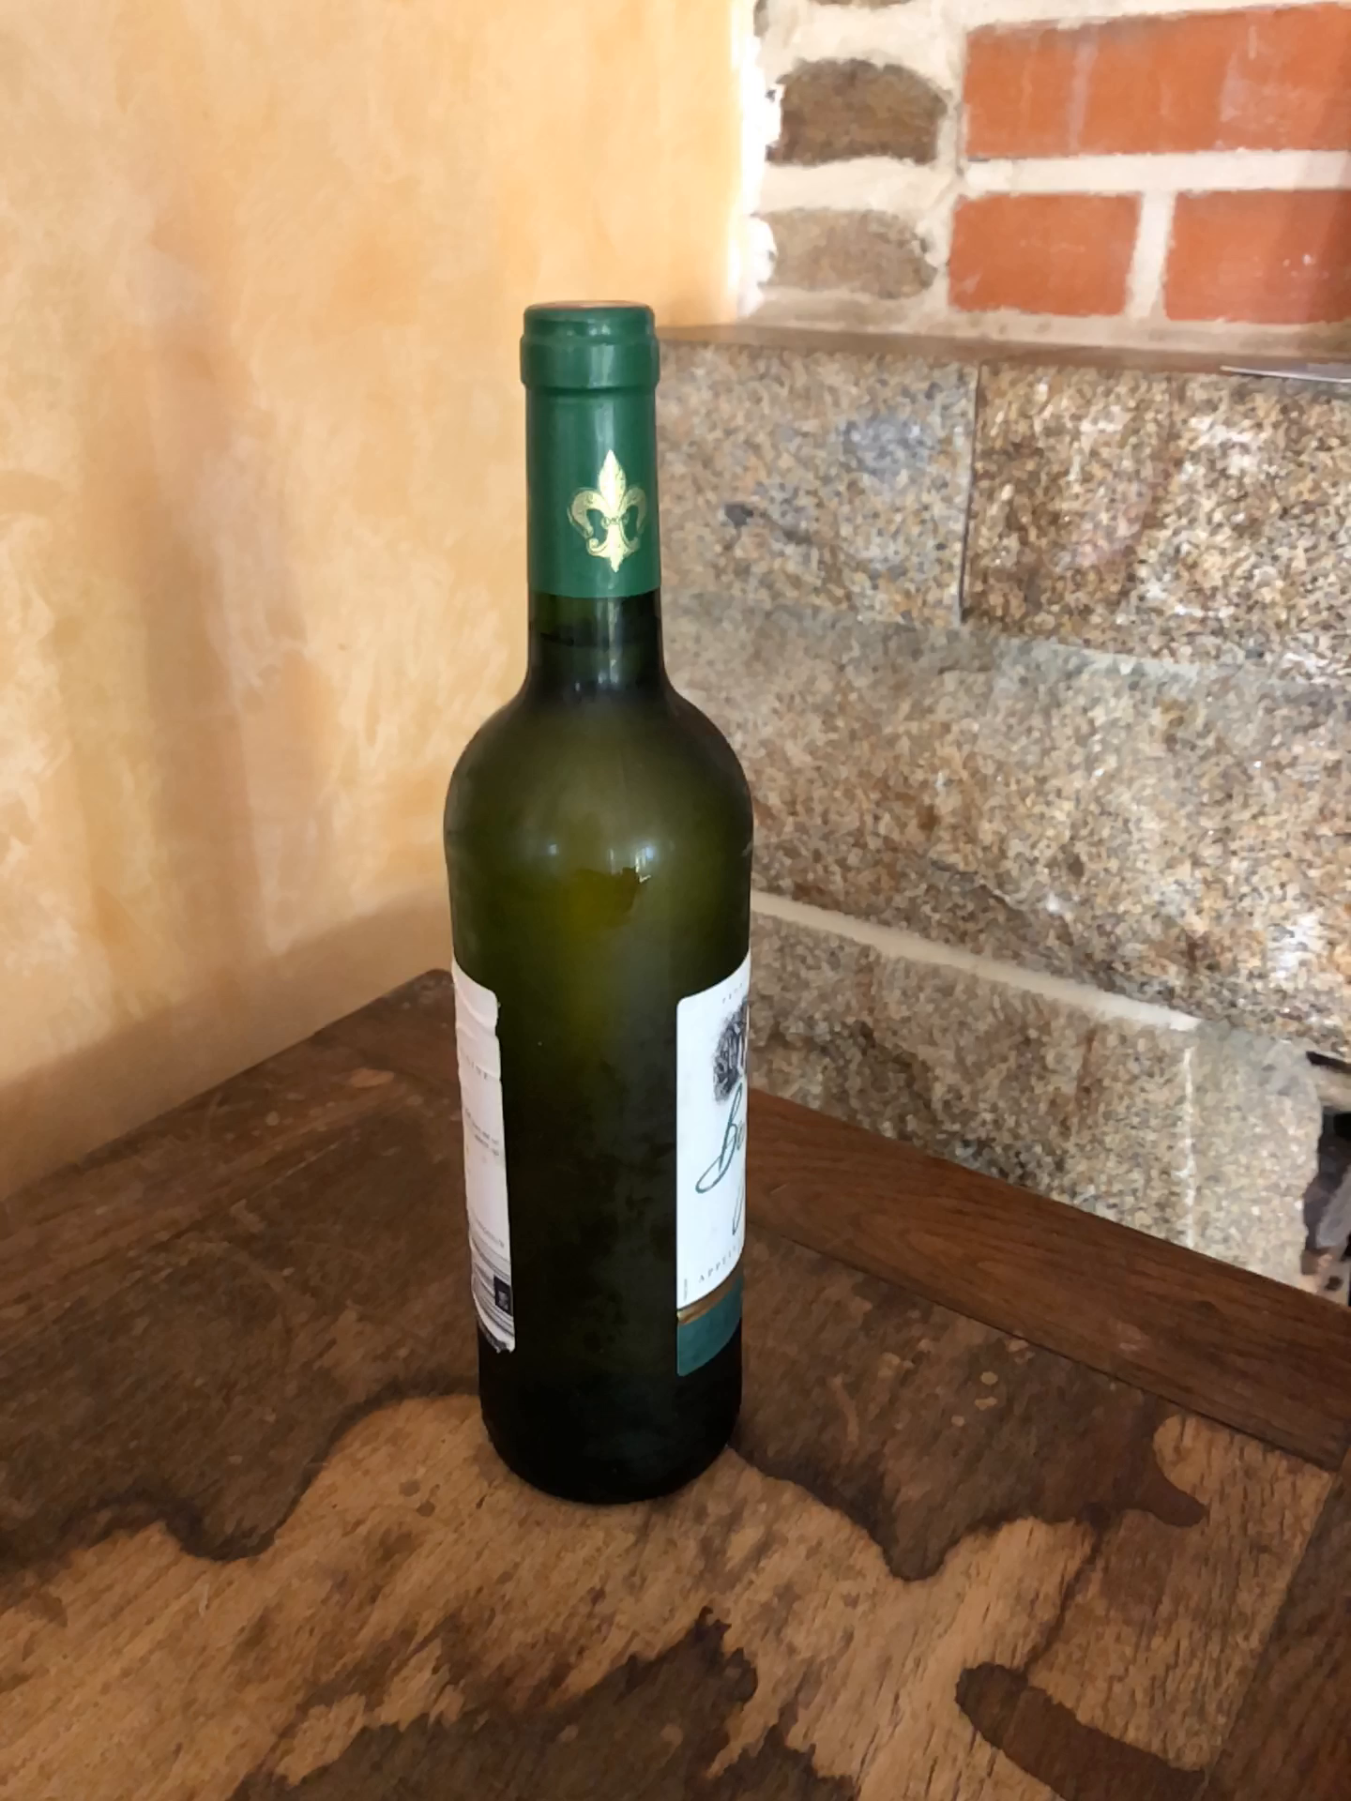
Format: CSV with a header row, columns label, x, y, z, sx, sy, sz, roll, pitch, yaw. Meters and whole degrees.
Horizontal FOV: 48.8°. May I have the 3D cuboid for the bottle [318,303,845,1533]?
label,x,y,z,sx,sy,sz,roll,pitch,yaw
bottle,-0.016,0.008,0.347,0.090,0.269,0.090,1,23,0
